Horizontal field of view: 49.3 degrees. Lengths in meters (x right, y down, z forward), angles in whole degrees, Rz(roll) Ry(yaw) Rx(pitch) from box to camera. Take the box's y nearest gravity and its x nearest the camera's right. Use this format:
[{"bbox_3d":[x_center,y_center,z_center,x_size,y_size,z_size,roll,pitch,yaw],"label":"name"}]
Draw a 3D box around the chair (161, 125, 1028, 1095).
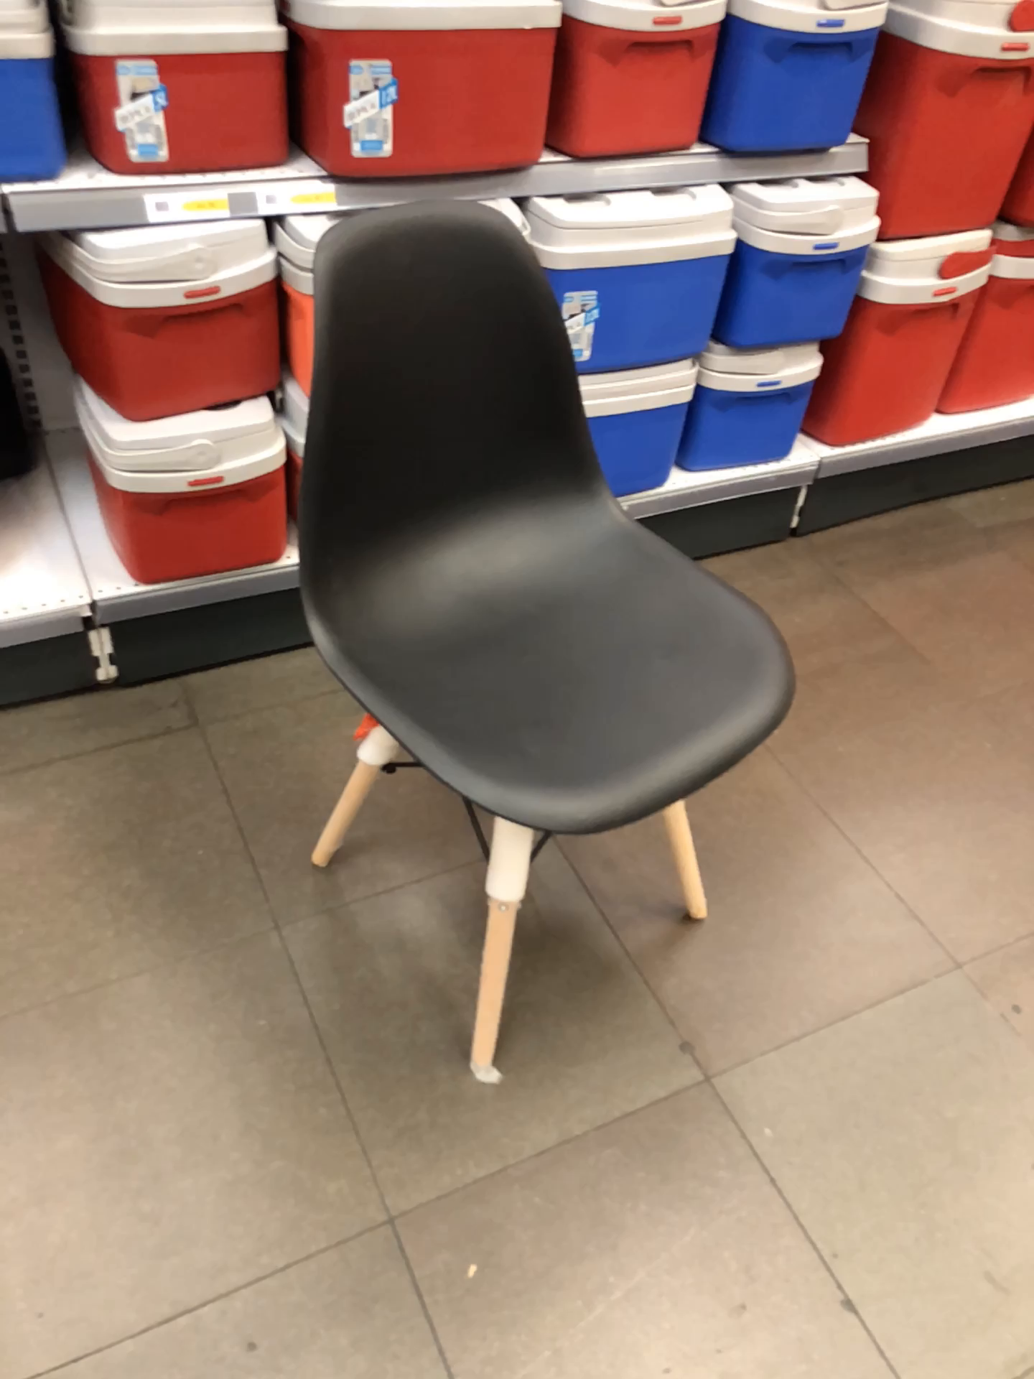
[{"bbox_3d":[0.033,-0.101,1.200,0.502,0.724,0.552,-28,52,-33],"label":"chair"}]
